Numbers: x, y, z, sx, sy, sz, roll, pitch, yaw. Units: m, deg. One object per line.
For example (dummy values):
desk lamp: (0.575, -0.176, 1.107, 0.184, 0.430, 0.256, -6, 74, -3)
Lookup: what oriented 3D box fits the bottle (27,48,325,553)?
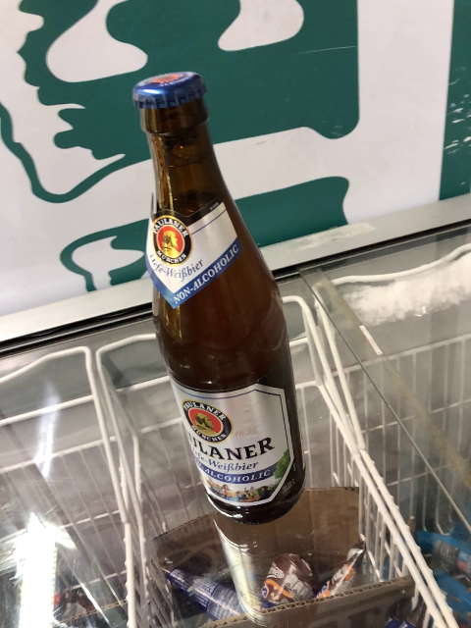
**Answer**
bottle: (-0.008, 0.012, 0.252, 0.070, 0.238, 0.060, 12, 42, 29)
